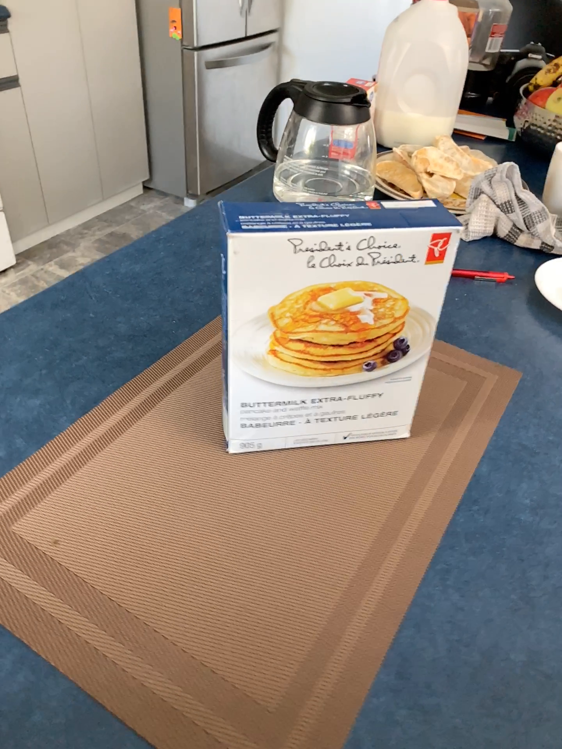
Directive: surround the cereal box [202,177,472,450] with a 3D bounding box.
[{"bbox_3d":[0.029,-0.039,0.441,0.170,0.208,0.050,-3,39,-9],"label":"cereal box"}]
